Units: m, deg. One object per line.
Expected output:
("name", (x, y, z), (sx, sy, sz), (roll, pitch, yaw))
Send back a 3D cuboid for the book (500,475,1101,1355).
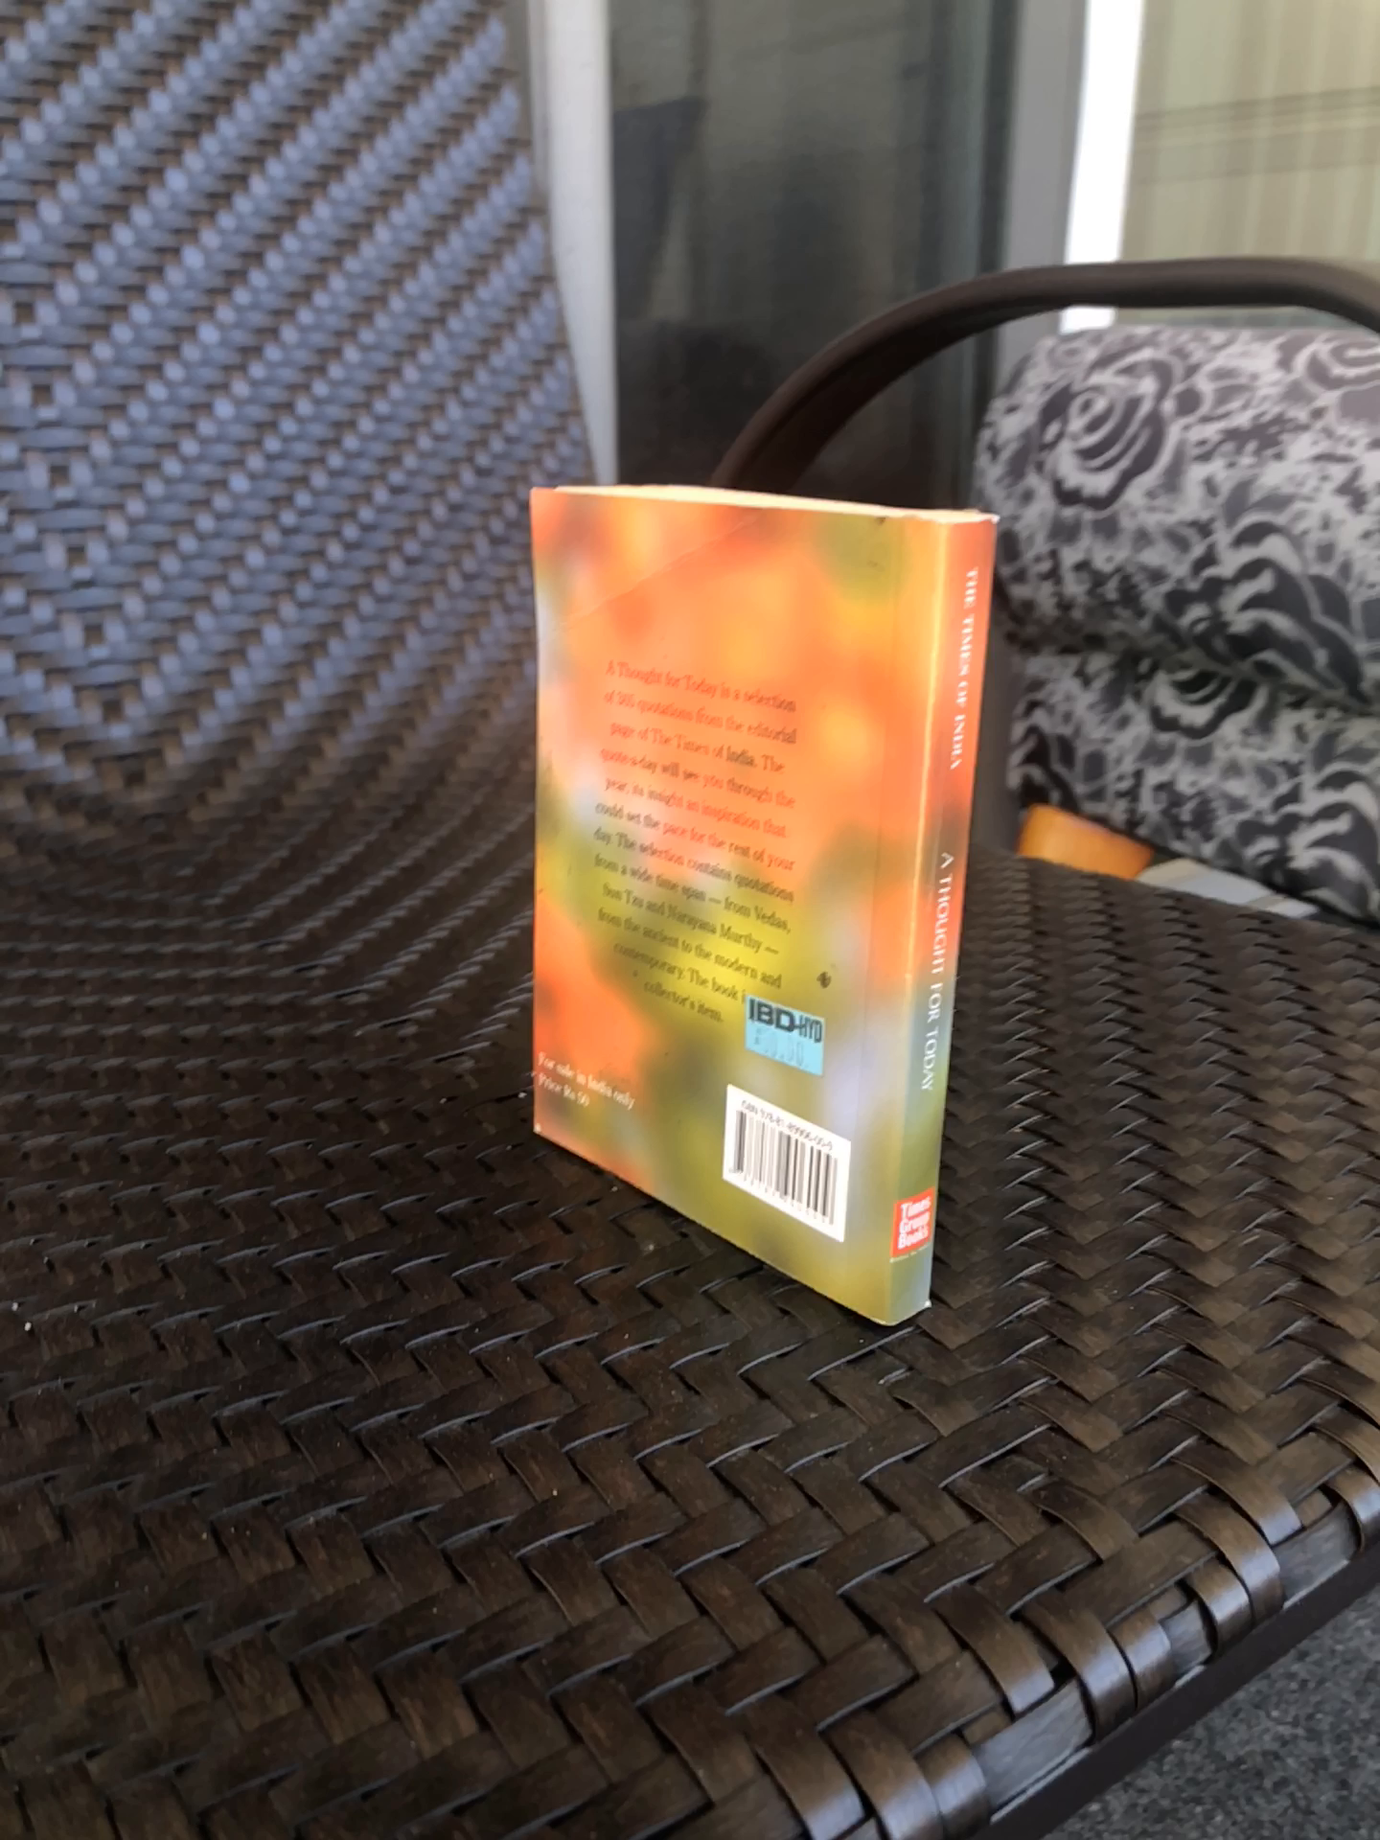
("book", (0.011, -0.008, 0.273), (0.031, 0.129, 0.106), (-14, 25, -41))
